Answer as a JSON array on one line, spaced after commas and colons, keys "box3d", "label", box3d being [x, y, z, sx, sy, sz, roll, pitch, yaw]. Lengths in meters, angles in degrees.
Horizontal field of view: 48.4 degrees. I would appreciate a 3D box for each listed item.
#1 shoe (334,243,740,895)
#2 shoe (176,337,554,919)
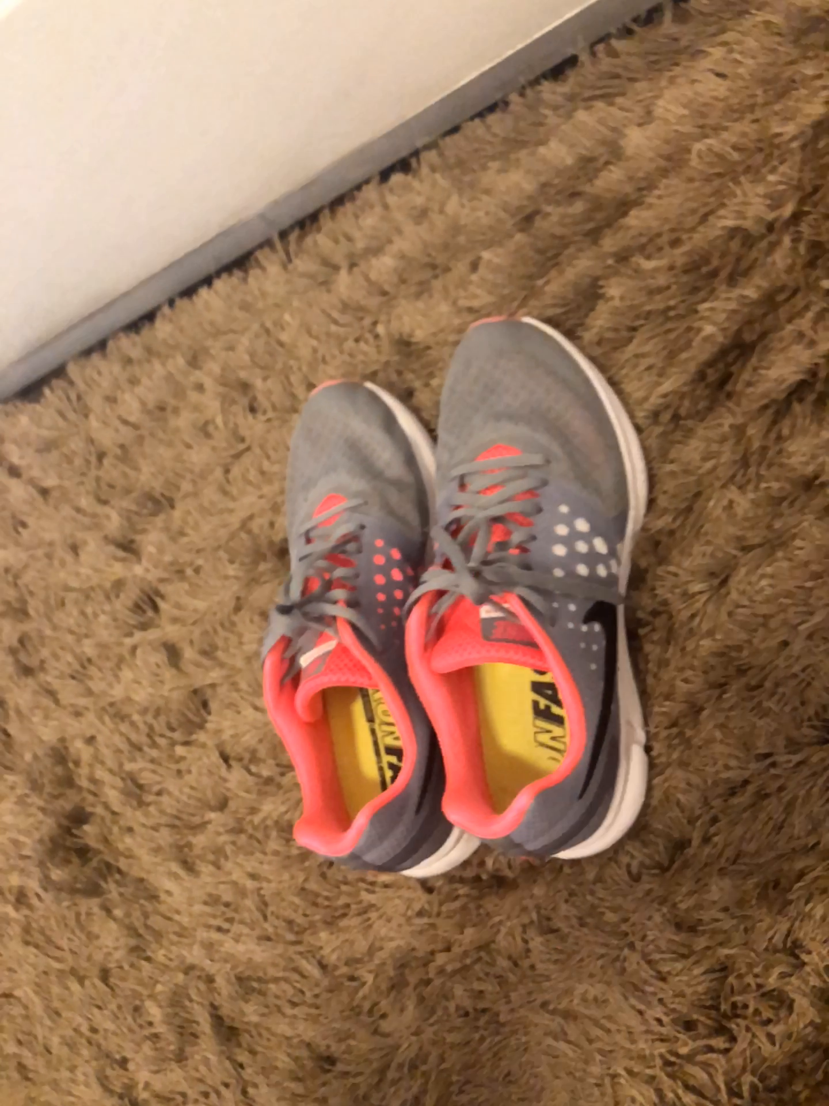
[{"box3d": [0.057, 0.014, 0.455, 0.119, 0.119, 0.270, -17, 71, 27], "label": "shoe"}, {"box3d": [-0.031, 0.043, 0.512, 0.114, 0.121, 0.270, -22, 68, 25], "label": "shoe"}]
